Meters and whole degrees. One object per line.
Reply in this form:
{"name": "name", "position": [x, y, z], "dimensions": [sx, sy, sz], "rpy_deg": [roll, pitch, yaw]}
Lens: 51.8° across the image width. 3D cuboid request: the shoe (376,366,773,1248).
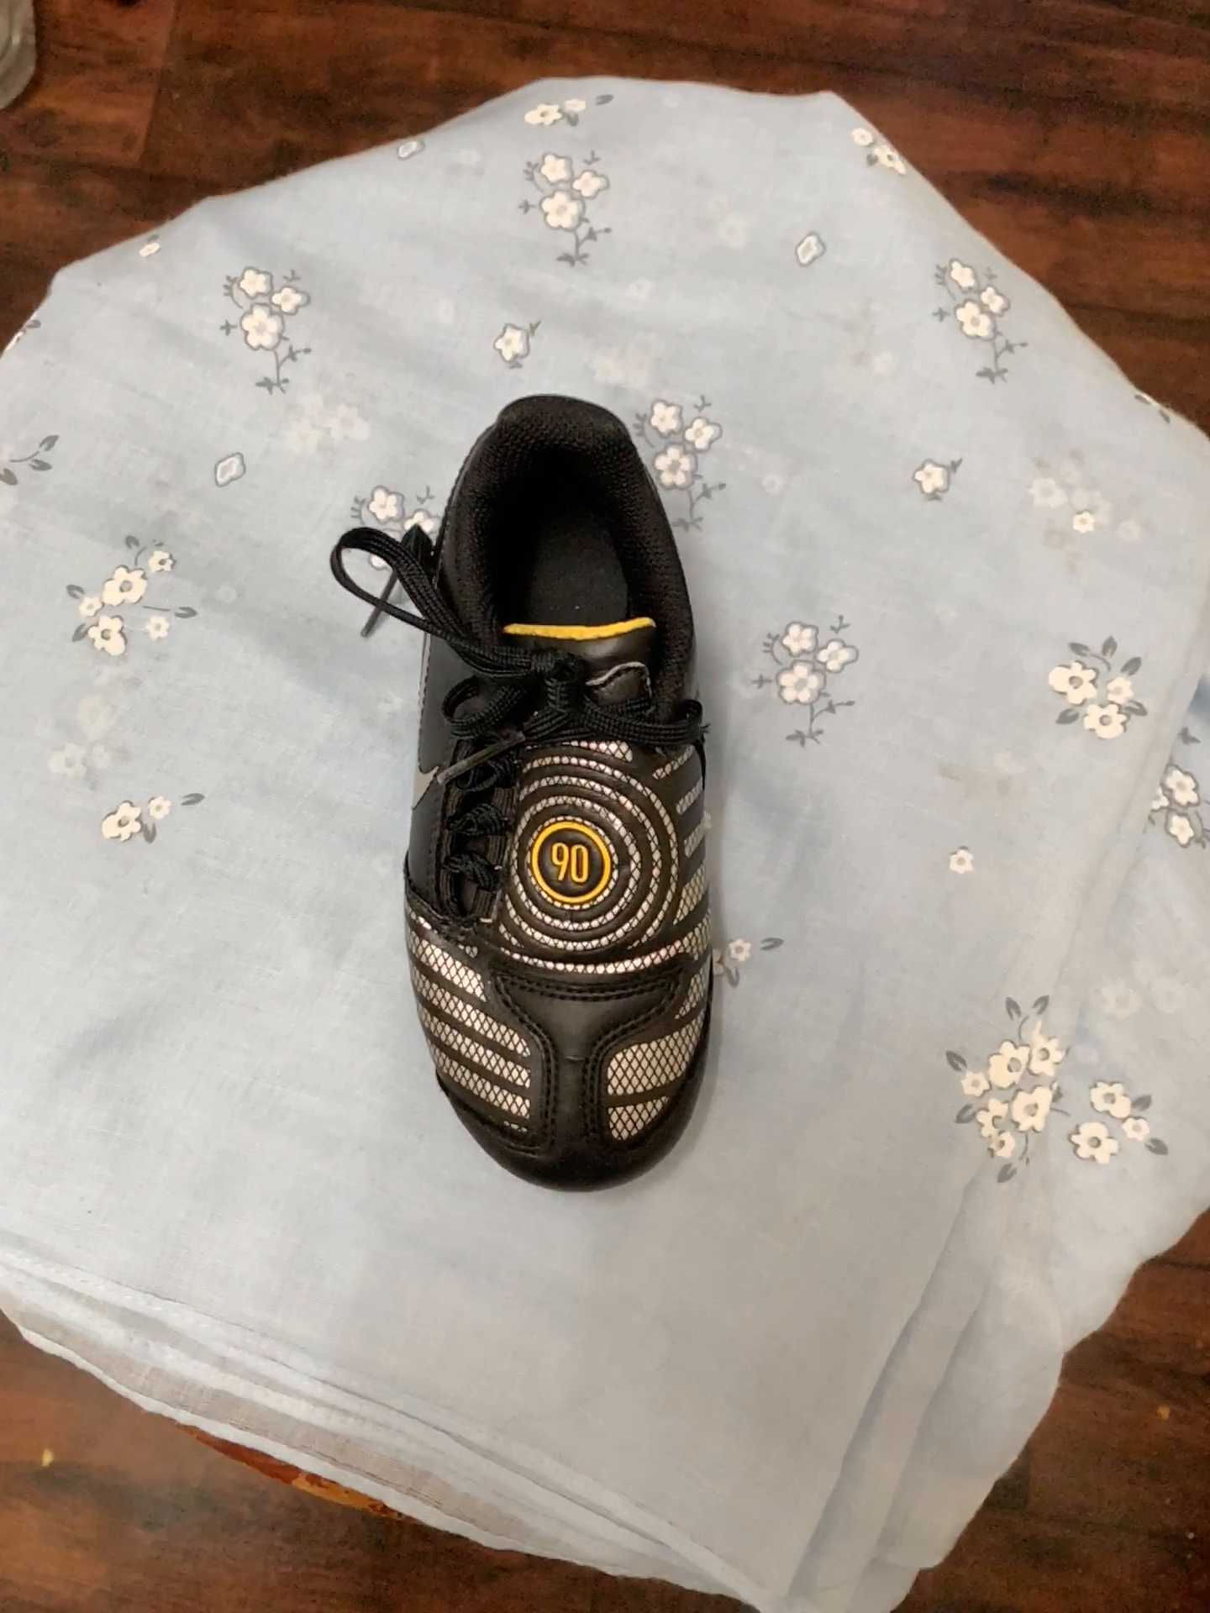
{"name": "shoe", "position": [-0.005, 0.000, 0.301], "dimensions": [0.080, 0.070, 0.190], "rpy_deg": [0, 81, 1]}
